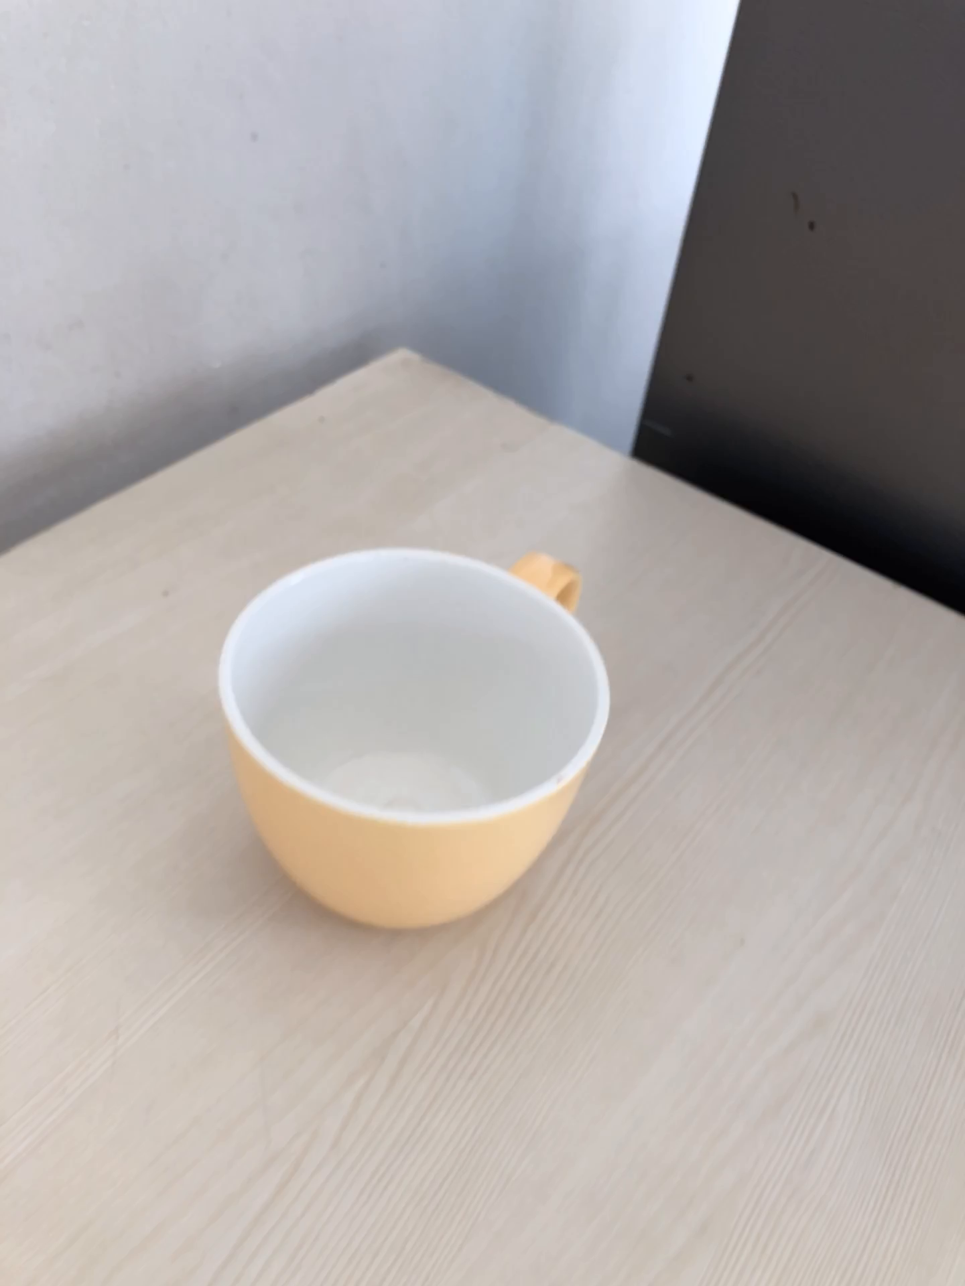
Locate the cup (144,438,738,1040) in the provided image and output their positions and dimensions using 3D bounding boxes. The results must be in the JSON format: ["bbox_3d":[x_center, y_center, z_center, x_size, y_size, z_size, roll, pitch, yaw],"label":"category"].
[{"bbox_3d":[-0.009,0.018,0.325,0.100,0.079,0.141,30,46,22],"label":"cup"}]
